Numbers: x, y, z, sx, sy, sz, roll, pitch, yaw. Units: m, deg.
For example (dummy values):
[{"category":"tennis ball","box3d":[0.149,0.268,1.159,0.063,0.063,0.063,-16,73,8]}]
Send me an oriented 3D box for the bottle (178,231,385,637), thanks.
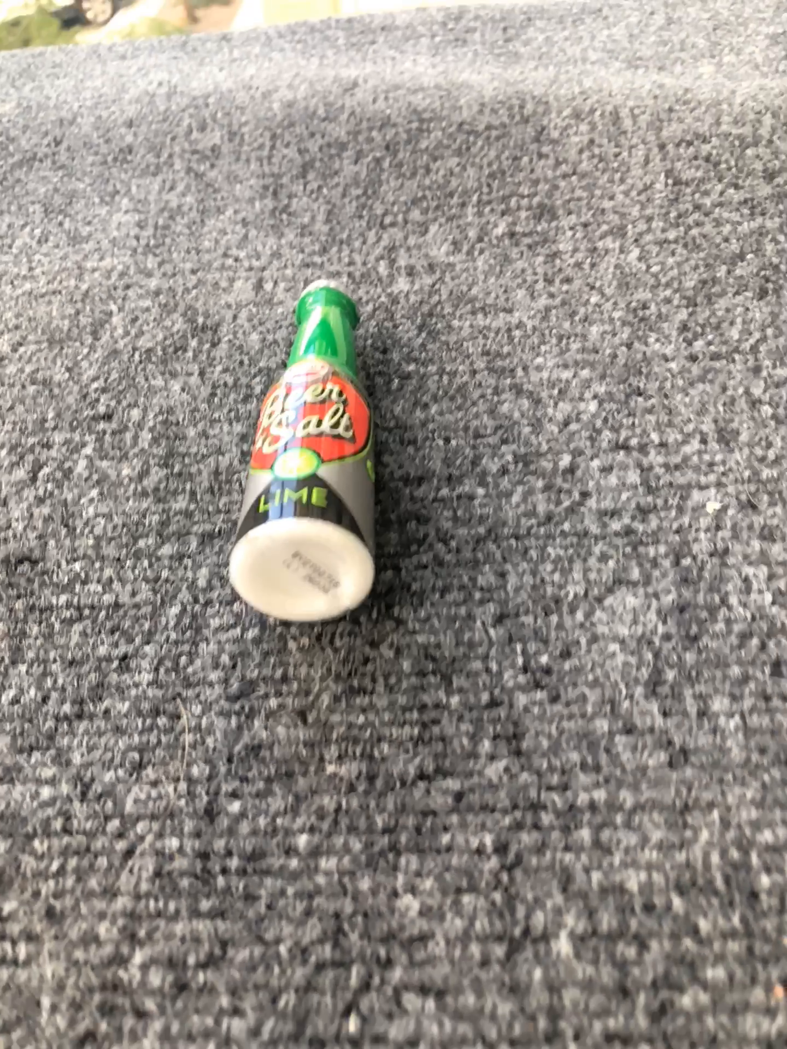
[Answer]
[{"category":"bottle","box3d":[-0.020,-0.026,0.195,0.033,0.030,0.102,-4,45,2]}]
